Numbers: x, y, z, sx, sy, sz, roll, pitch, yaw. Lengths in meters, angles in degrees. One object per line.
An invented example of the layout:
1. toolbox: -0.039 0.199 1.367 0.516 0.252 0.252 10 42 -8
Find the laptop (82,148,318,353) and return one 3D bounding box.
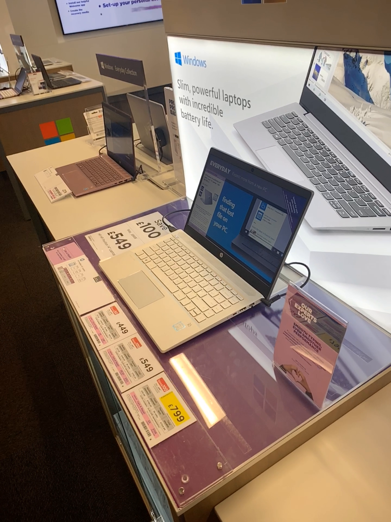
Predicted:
1. laptop: 0.000 -0.053 0.782 0.323 0.171 0.315 -24 38 -21
